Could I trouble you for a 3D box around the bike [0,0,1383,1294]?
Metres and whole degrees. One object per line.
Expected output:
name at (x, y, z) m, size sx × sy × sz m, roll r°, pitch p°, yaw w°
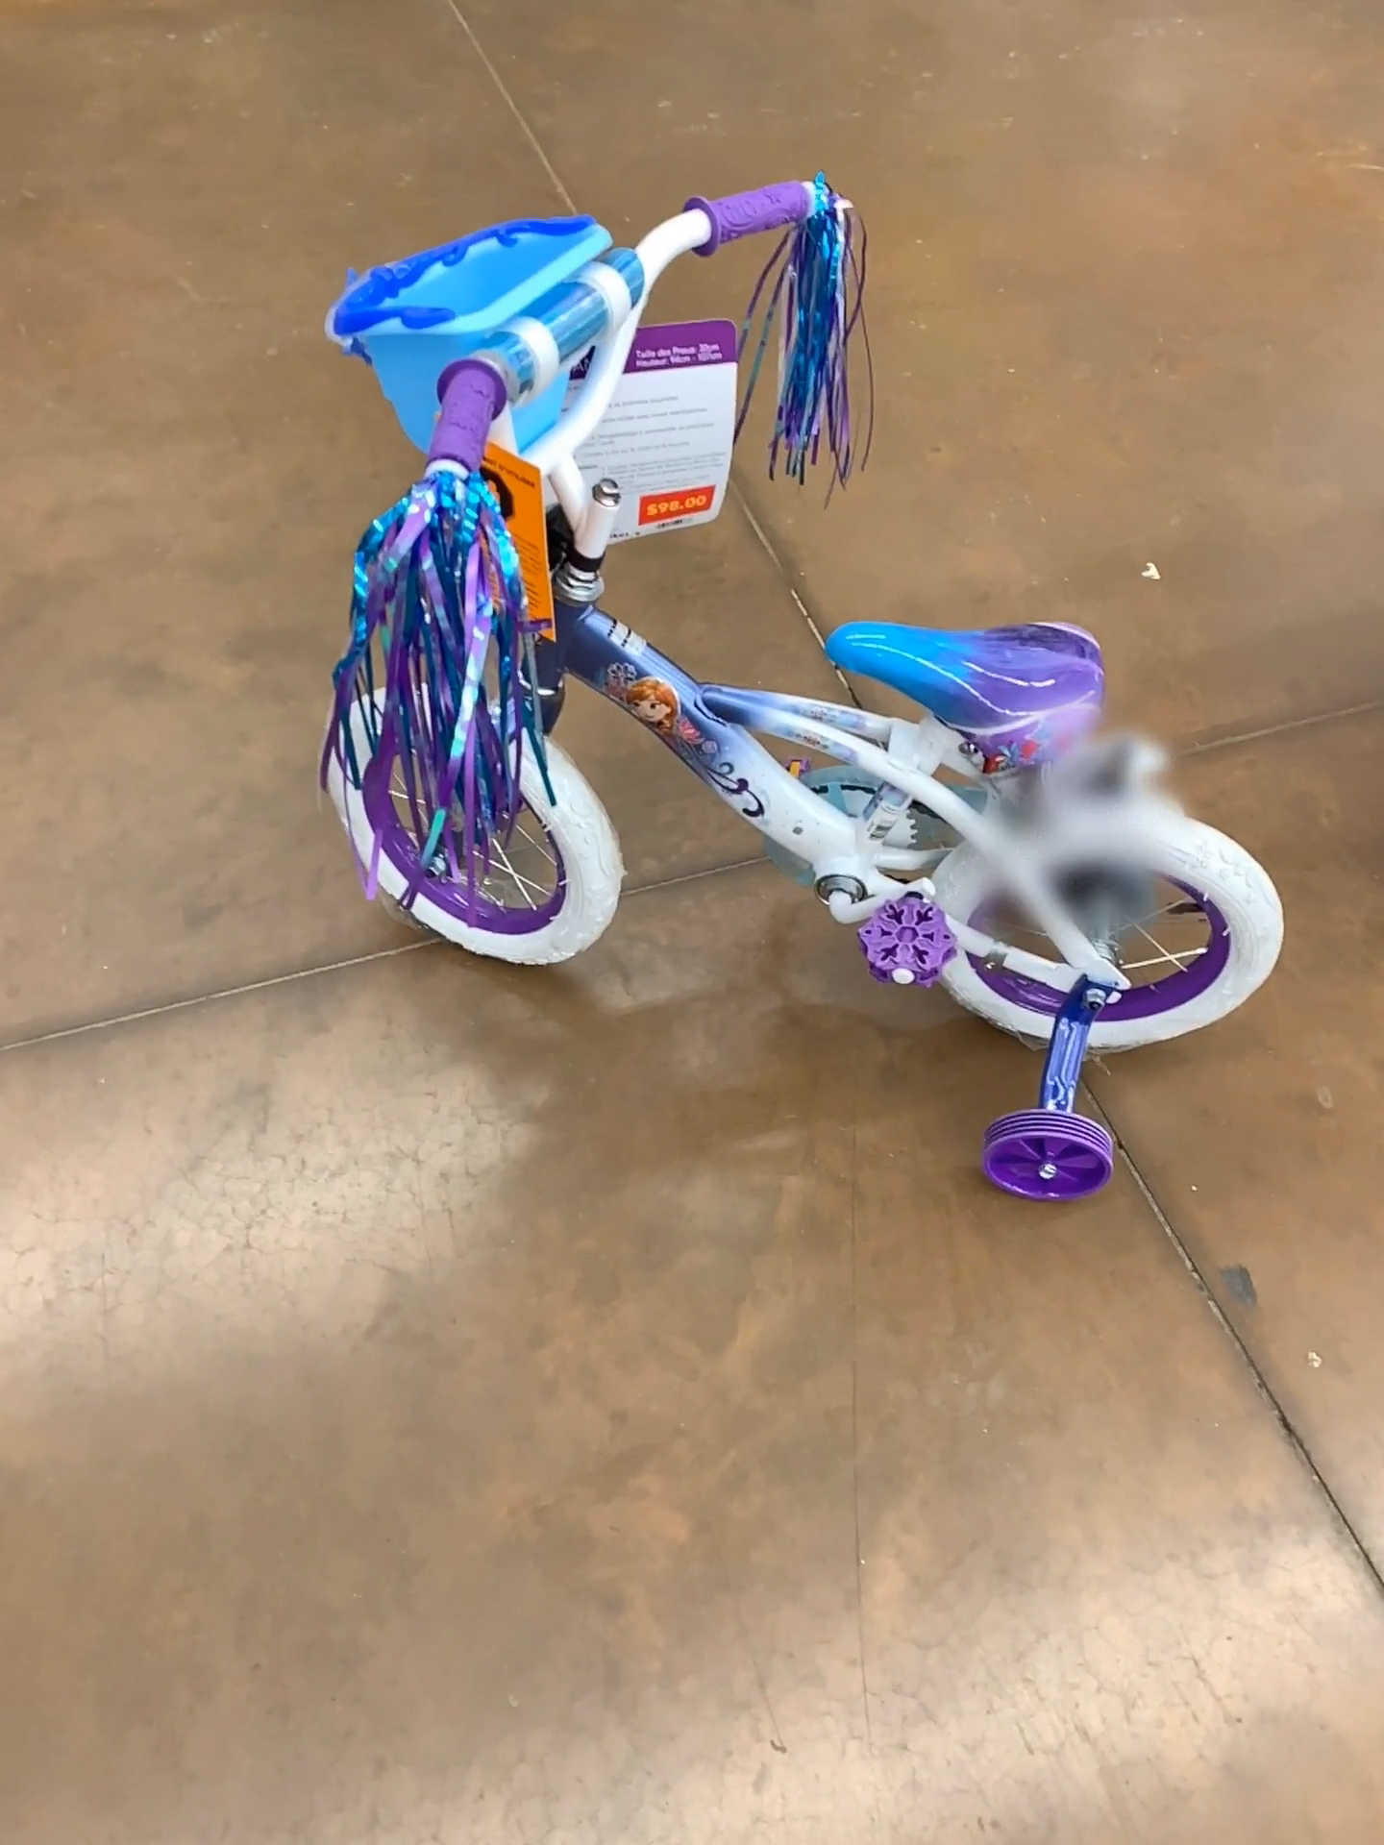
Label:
bike at (0.089, -0.158, 1.001) m, size 0.804 × 0.633 × 0.441 m, roll 13°, pitch 53°, yaw 4°
